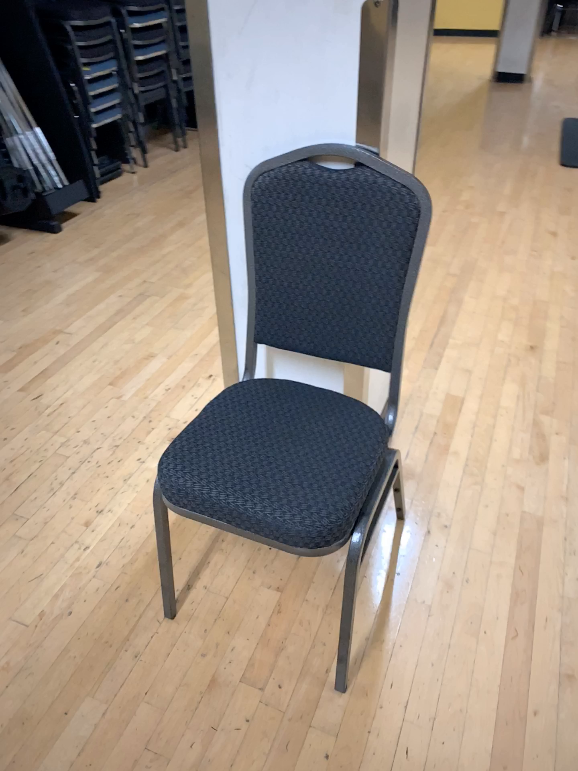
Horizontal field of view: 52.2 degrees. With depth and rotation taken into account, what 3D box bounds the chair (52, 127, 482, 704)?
[{"bbox_3d":[0.021,0.052,1.177,0.464,0.908,0.567,14,39,19],"label":"chair"}]
